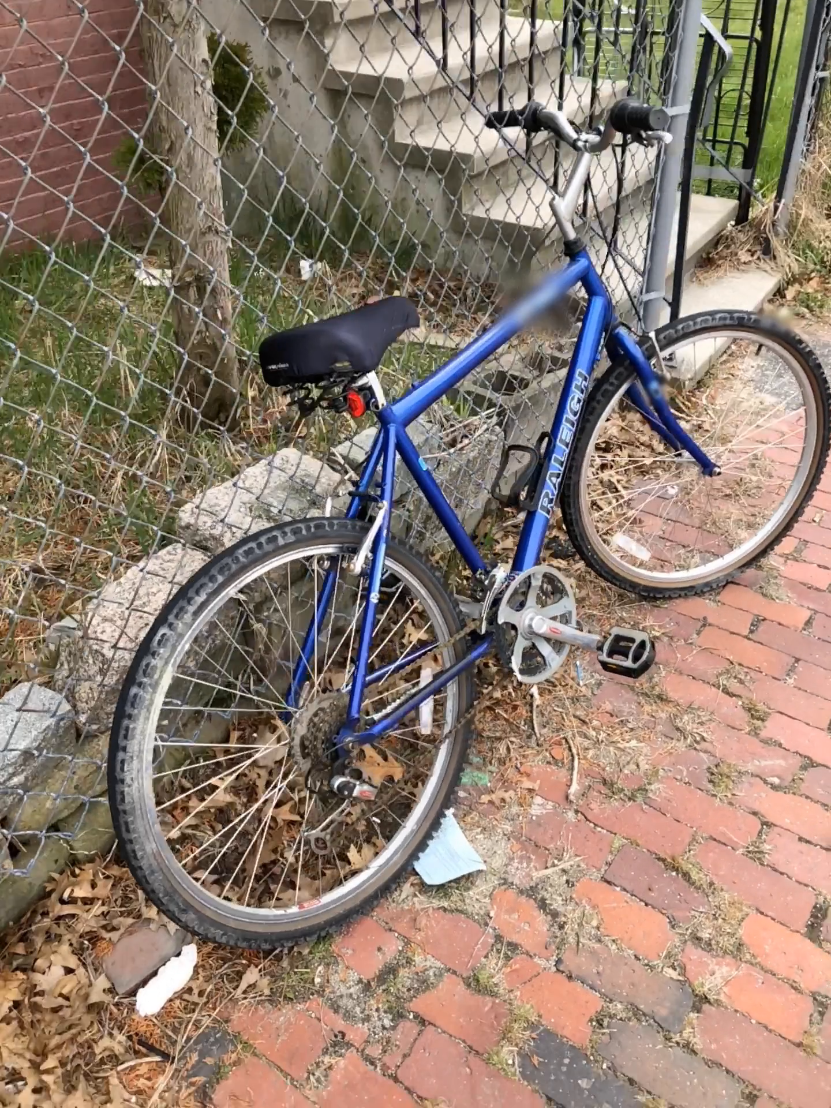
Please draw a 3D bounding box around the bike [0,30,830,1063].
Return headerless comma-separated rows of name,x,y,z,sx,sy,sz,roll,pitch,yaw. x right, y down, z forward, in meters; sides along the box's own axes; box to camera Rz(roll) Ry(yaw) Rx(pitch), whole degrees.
bike,0.127,-0.204,1.583,1.671,1.024,0.680,-30,41,-30
